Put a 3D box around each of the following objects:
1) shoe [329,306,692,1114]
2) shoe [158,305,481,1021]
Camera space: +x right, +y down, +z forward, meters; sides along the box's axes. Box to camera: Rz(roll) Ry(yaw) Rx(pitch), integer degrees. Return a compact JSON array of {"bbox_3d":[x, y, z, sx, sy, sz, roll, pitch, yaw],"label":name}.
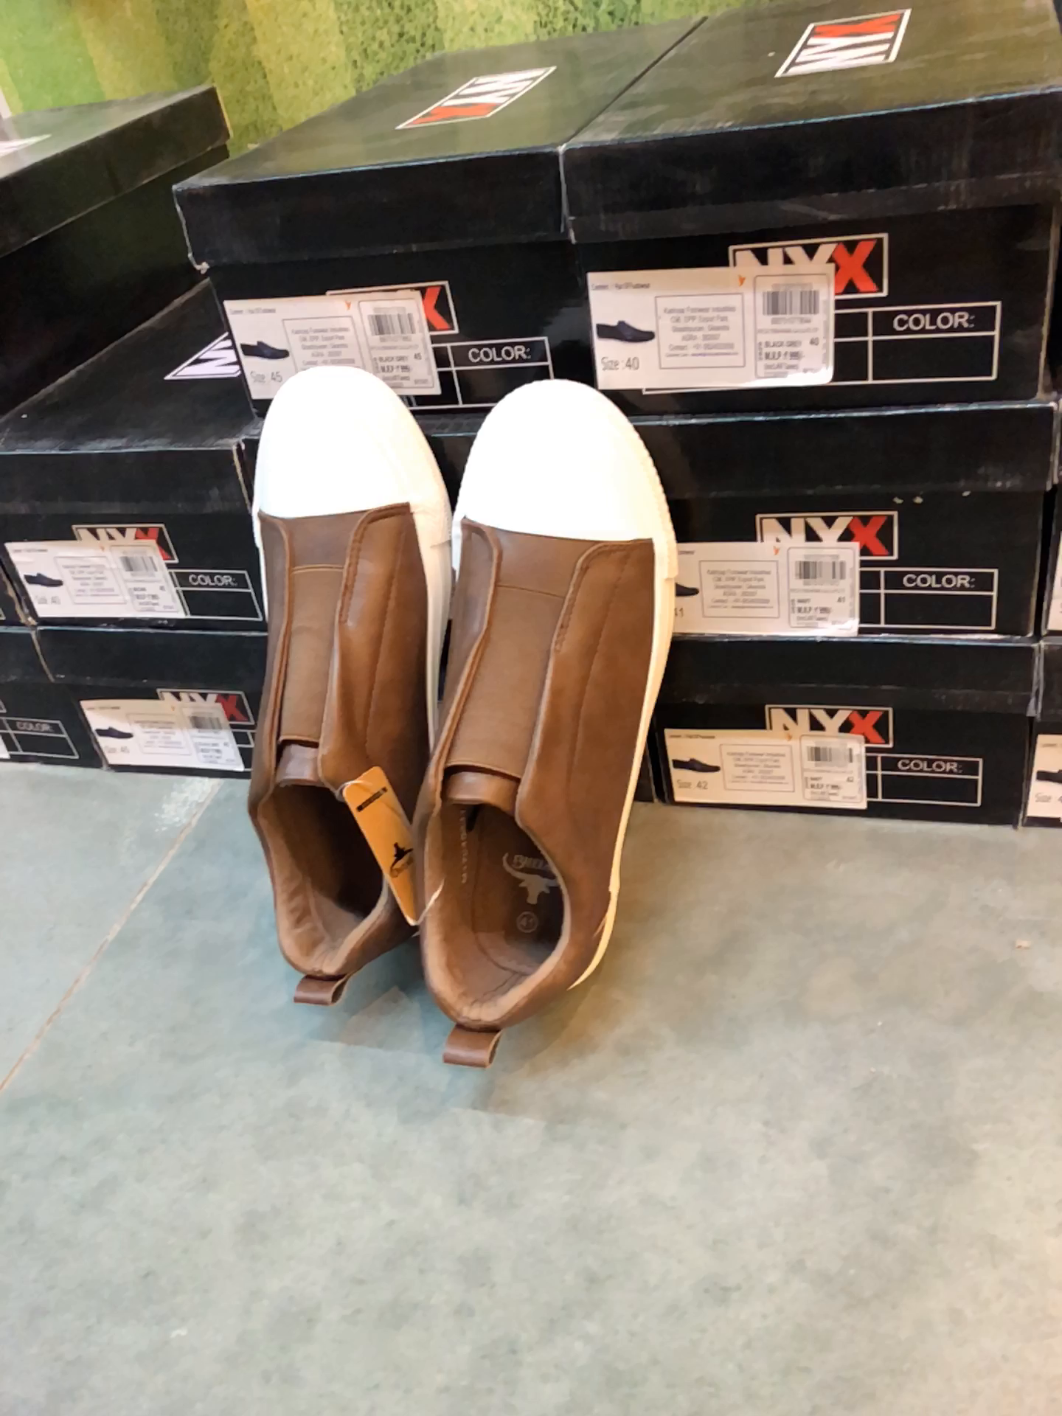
[{"bbox_3d":[-0.004,-0.002,0.458,0.096,0.272,0.100,4,1,20],"label":"shoe"},{"bbox_3d":[-0.087,-0.019,0.505,0.098,0.269,0.103,1,1,18],"label":"shoe"}]
